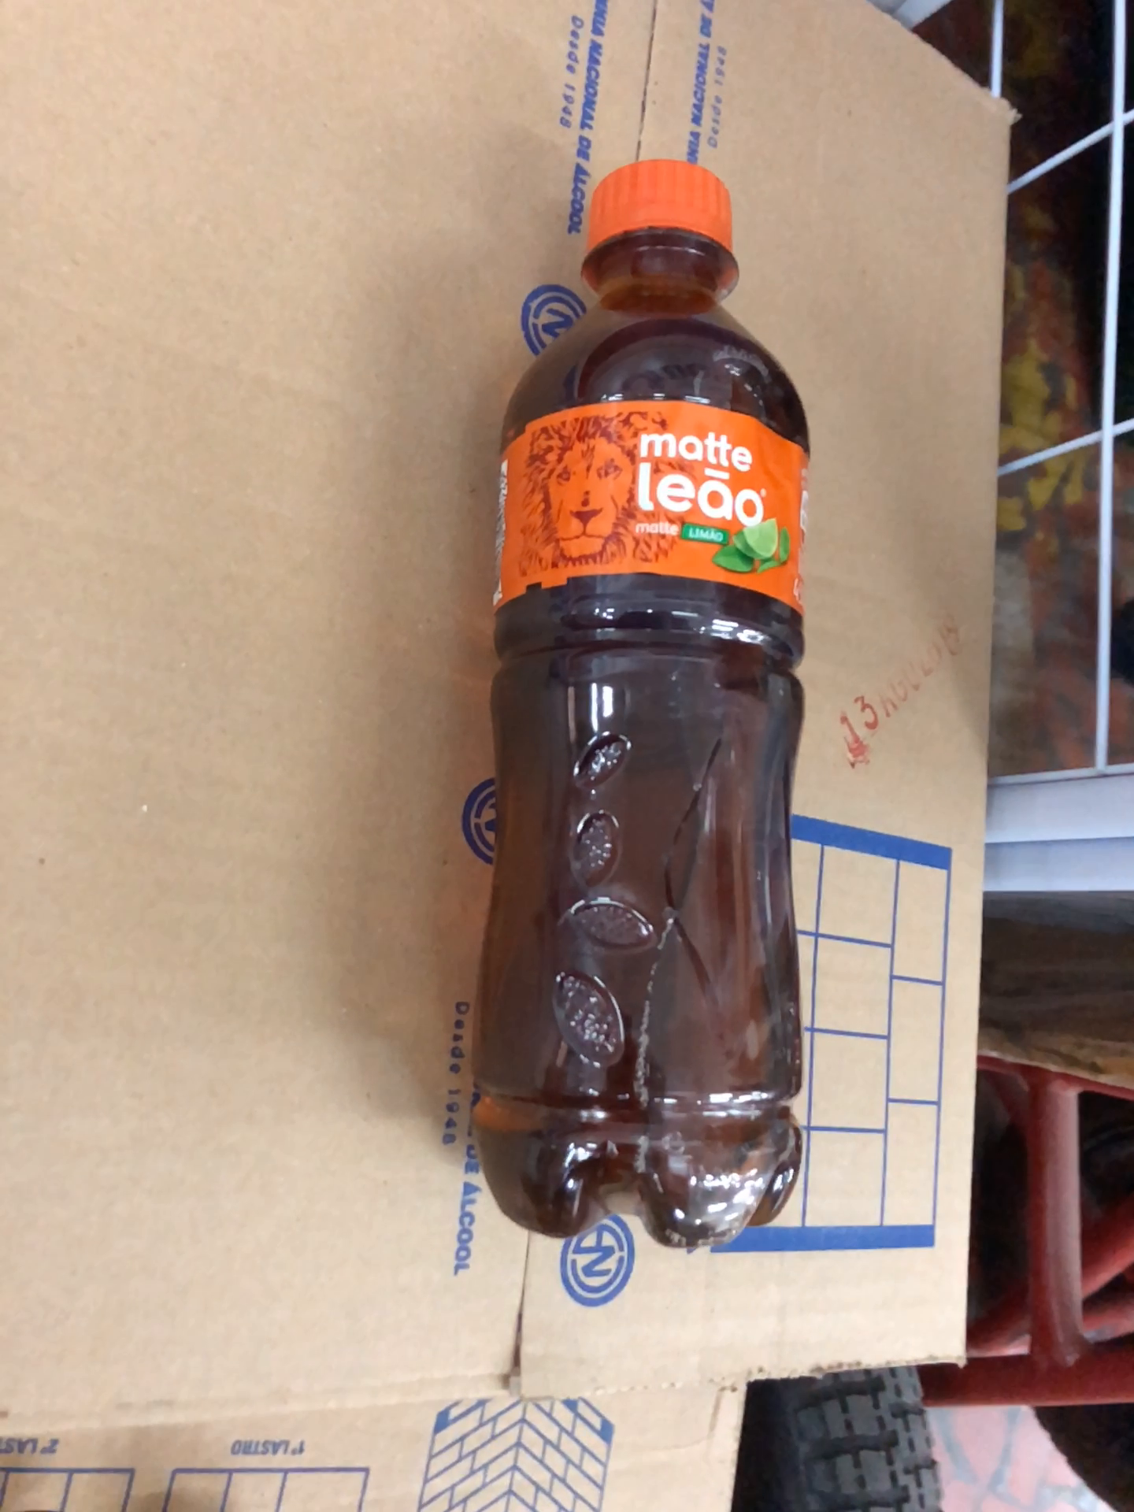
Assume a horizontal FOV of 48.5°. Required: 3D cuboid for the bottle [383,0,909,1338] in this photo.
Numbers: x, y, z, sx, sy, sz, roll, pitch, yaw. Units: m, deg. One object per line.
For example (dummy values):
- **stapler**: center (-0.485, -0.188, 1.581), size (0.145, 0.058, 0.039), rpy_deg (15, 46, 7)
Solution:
- **bottle**: center (0.016, -0.022, 0.234), size (0.070, 0.060, 0.220), rpy_deg (6, 82, -32)
